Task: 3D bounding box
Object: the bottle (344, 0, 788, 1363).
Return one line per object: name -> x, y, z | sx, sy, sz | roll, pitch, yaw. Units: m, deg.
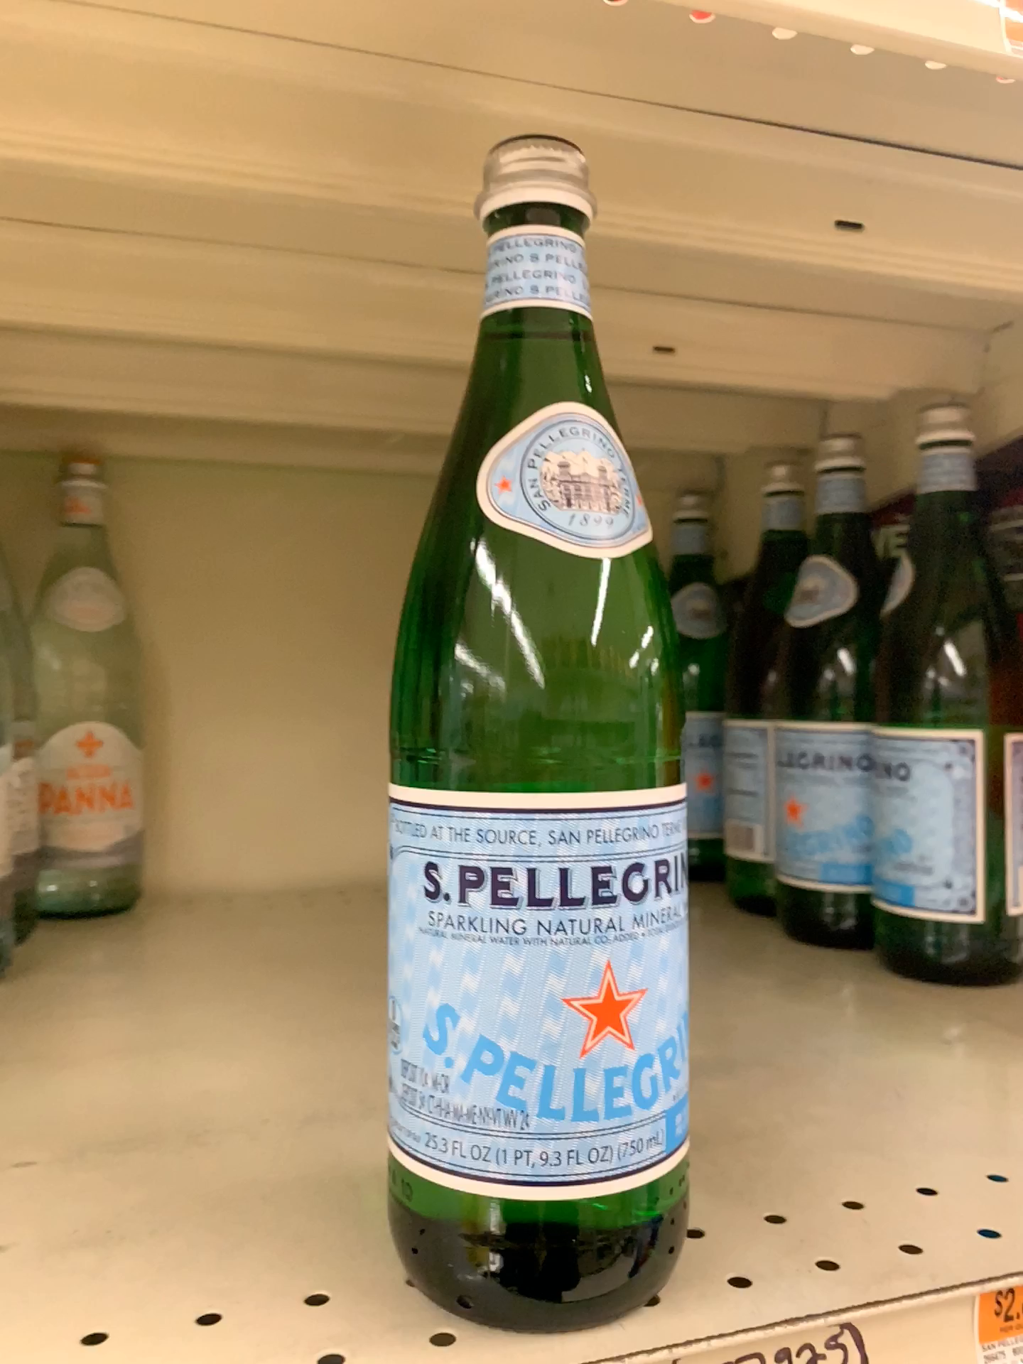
bottle -> 0.007, 0.000, 0.278 | 0.090, 0.290, 0.090 | 0, 1, 0
